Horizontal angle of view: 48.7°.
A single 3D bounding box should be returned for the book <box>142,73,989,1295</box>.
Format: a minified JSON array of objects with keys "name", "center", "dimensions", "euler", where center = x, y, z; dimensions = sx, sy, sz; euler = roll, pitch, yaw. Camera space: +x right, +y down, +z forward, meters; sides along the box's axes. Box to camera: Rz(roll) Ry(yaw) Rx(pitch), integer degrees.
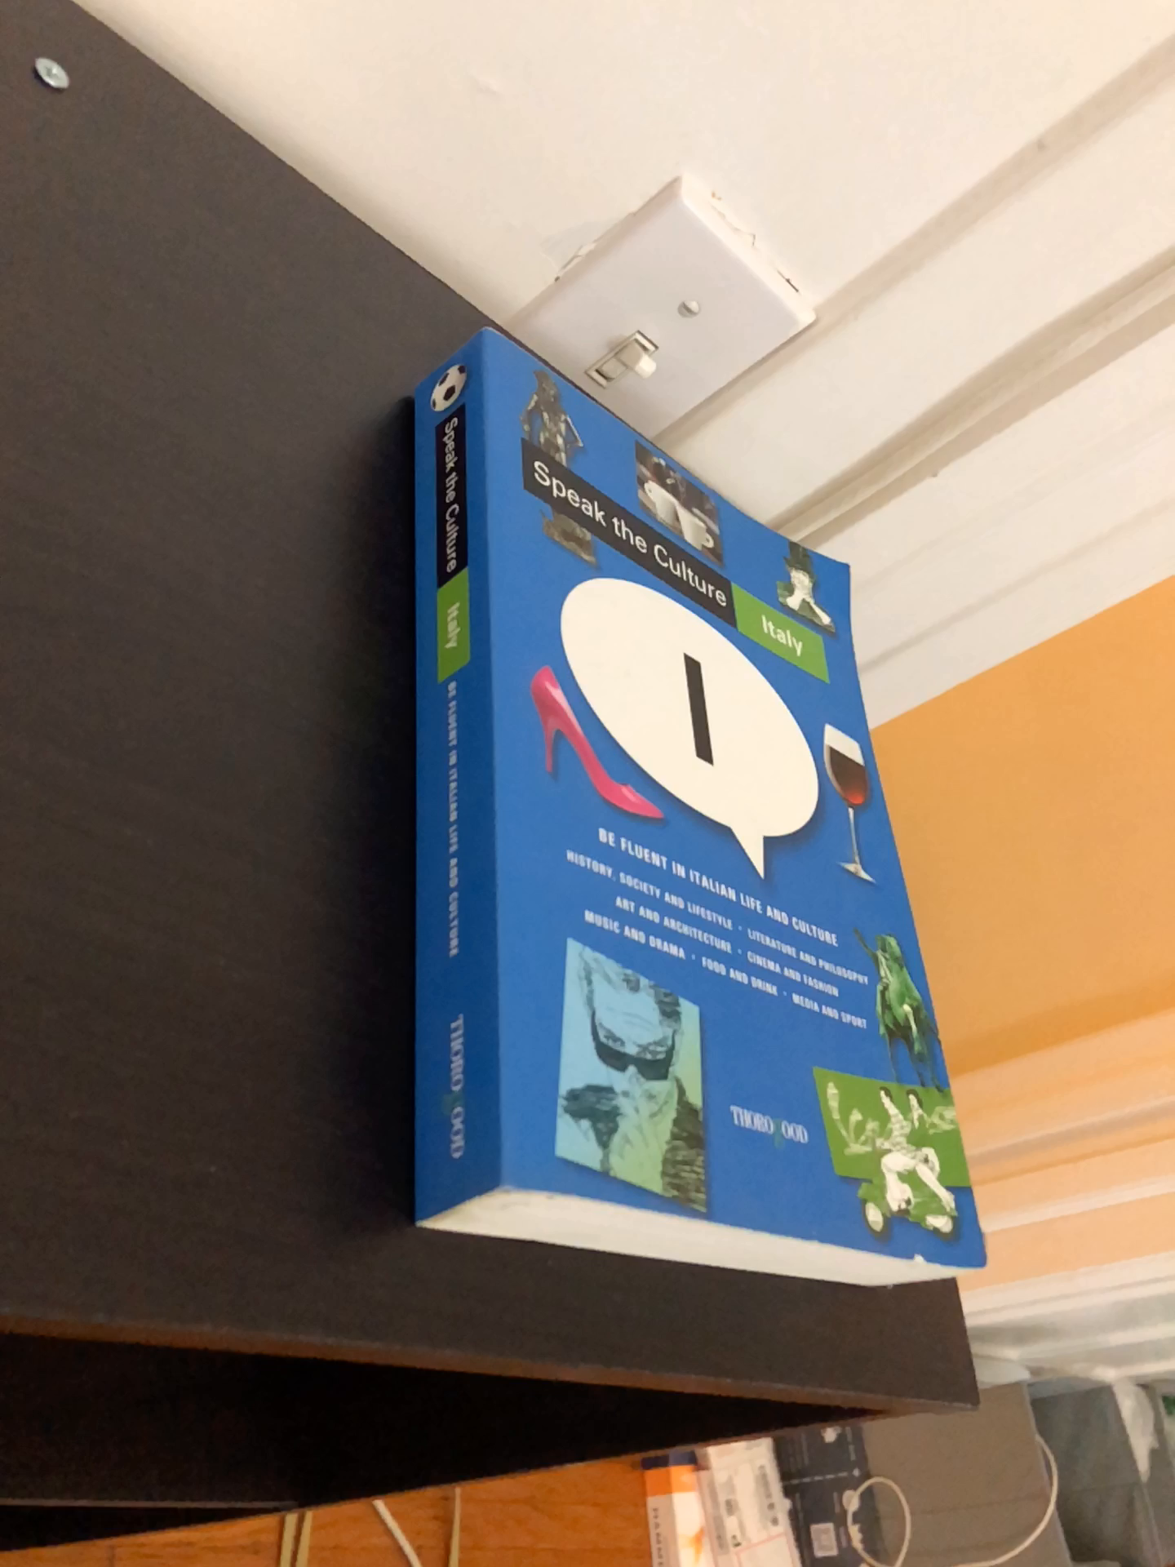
[{"name":"book","center":[0.004,-0.022,0.319],"dimensions":[0.201,0.030,0.261],"euler":[24,49,-39]}]
